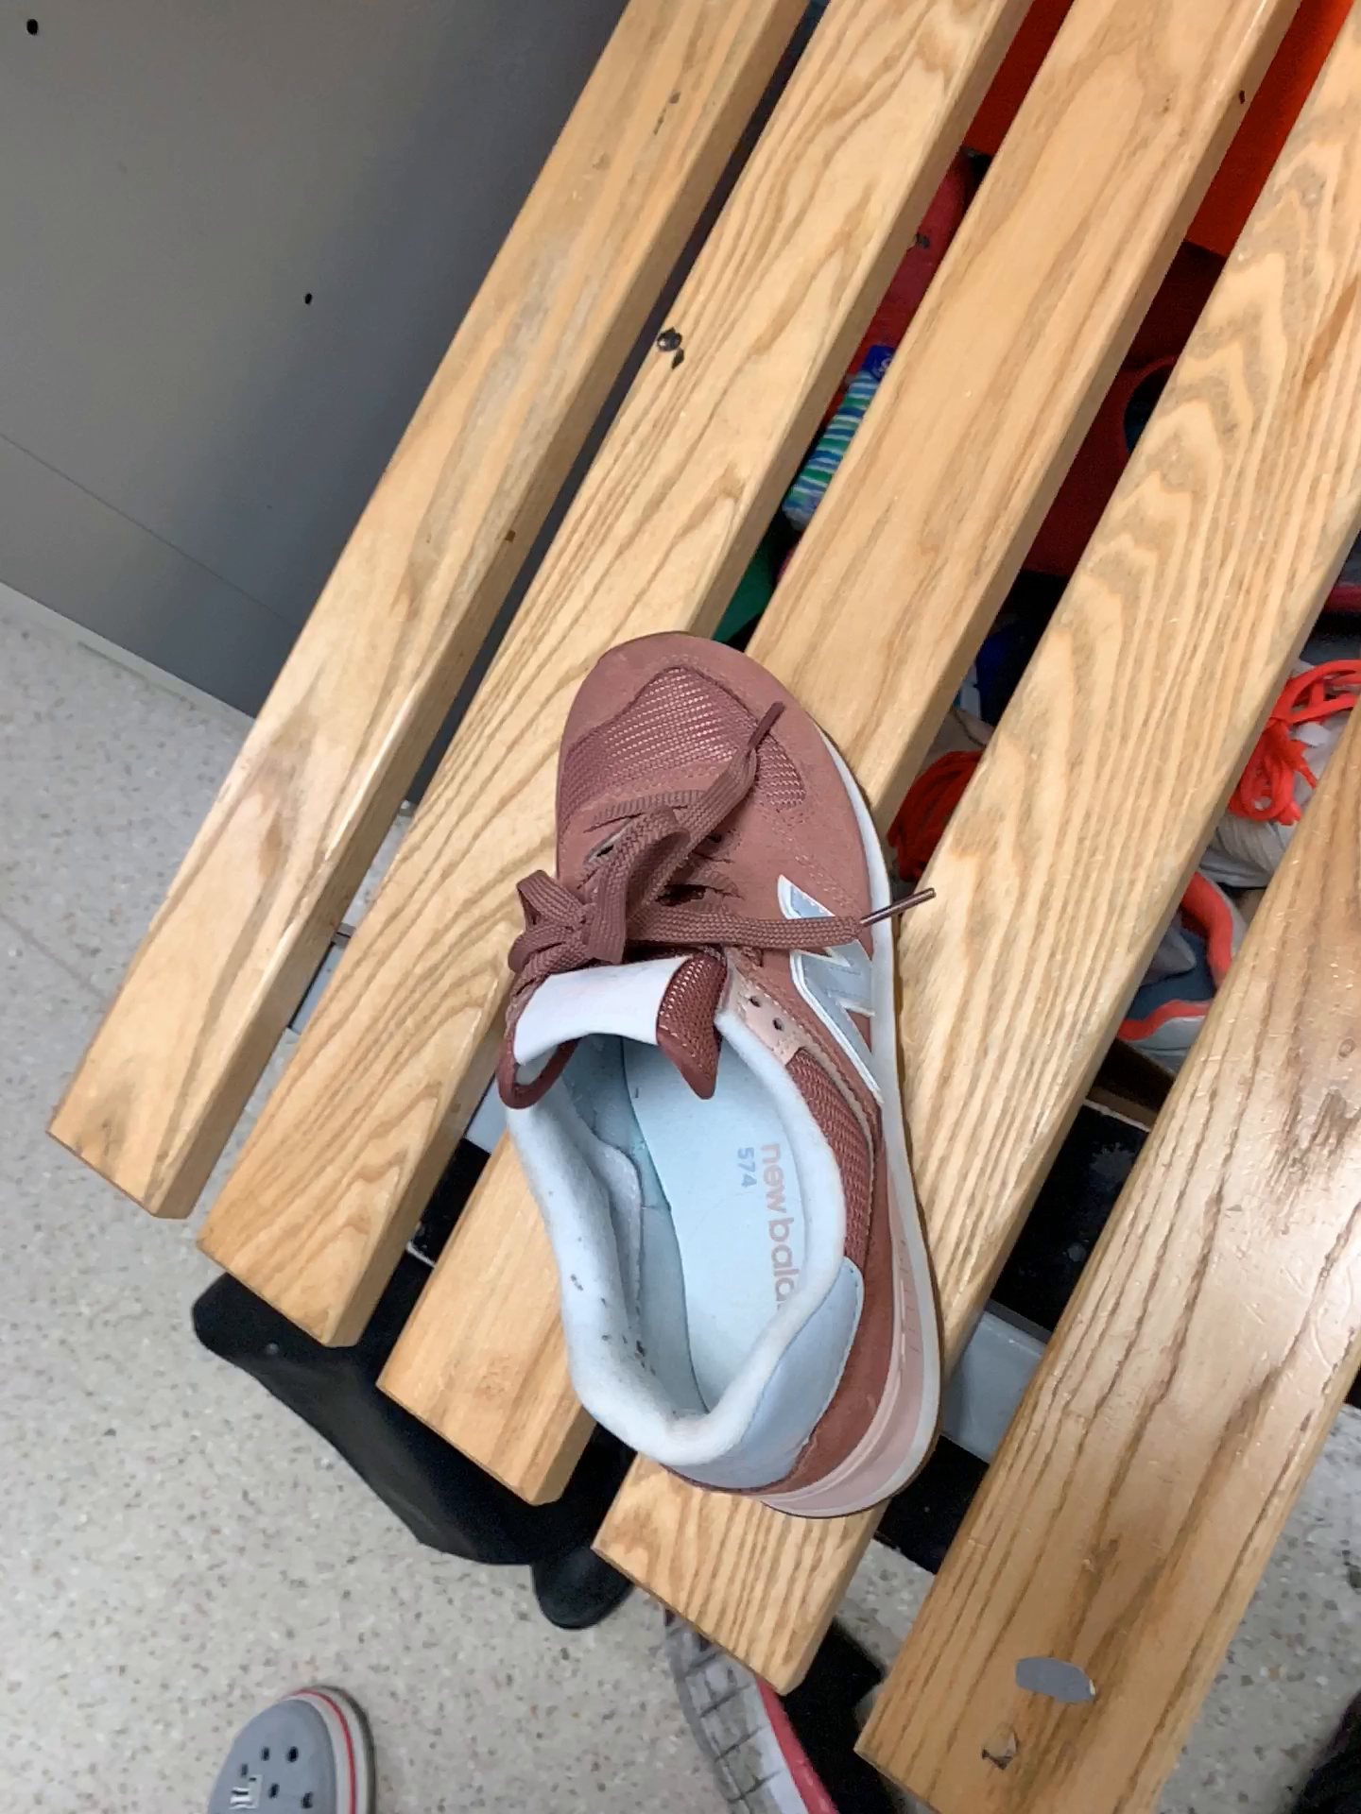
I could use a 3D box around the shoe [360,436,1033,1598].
[{"bbox_3d":[0.000,0.028,0.376,0.110,0.105,0.260,-17,69,20],"label":"shoe"}]
